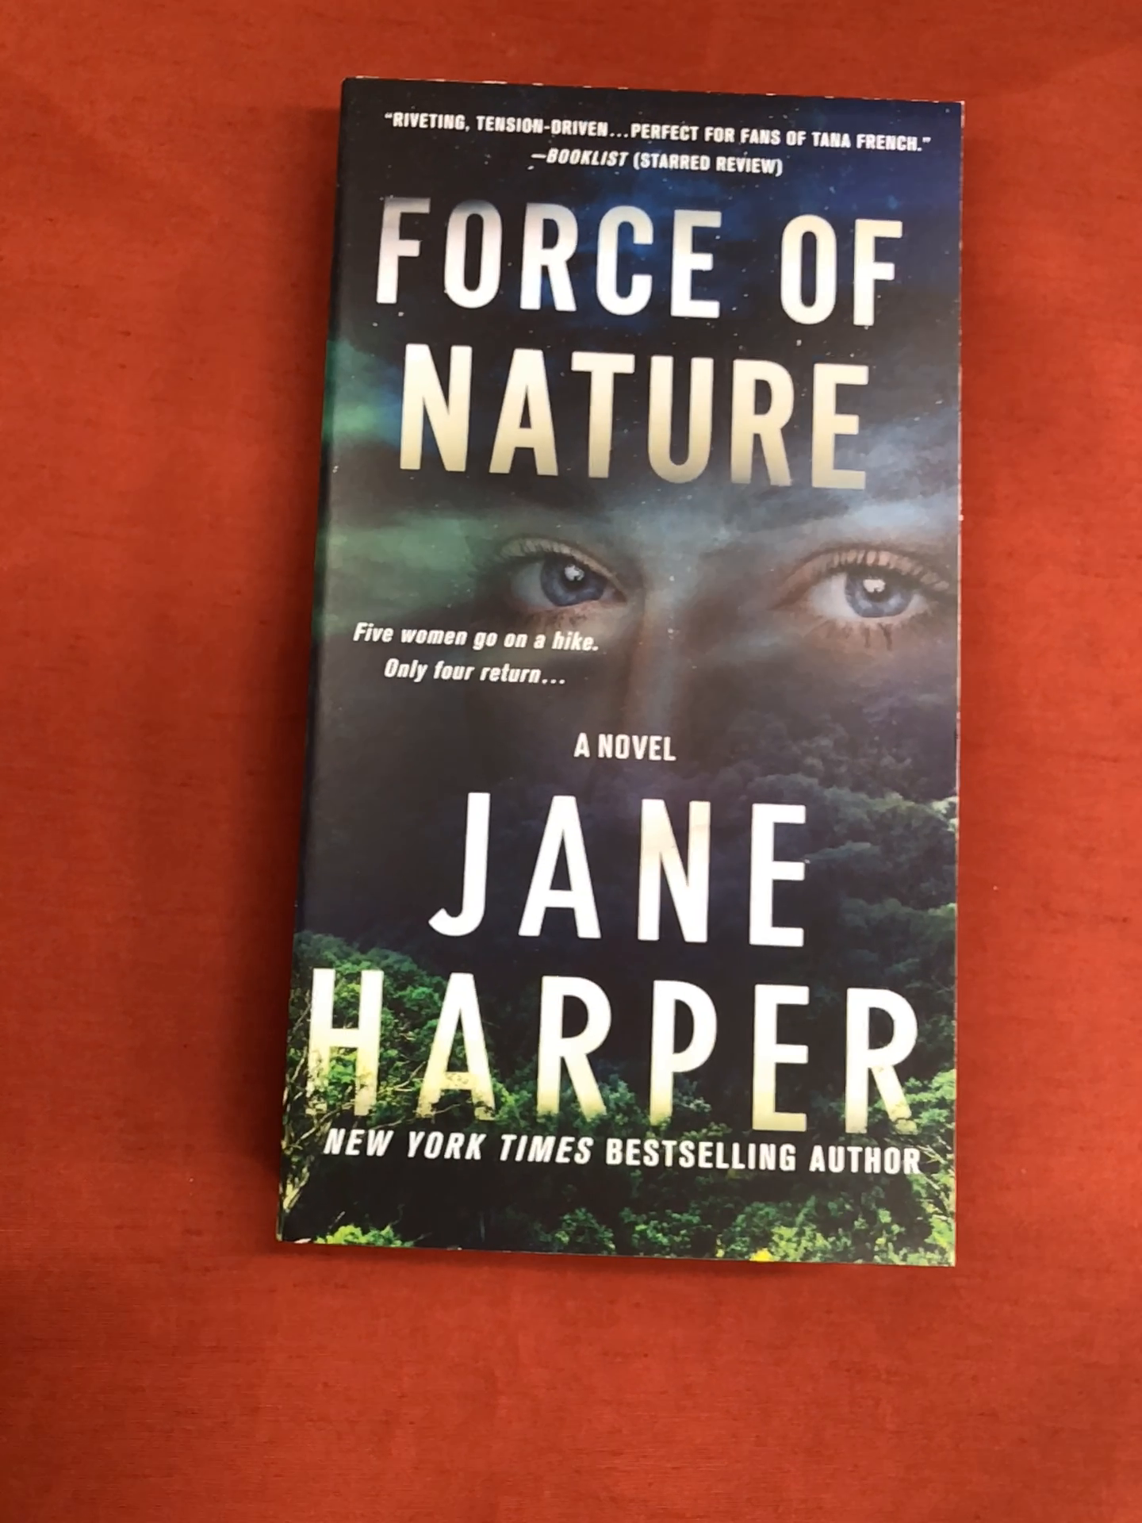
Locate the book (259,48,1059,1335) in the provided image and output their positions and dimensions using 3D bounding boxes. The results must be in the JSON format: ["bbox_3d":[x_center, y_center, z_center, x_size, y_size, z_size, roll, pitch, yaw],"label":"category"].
[{"bbox_3d":[0.012,-0.009,0.205,0.110,0.050,0.180,1,91,-1],"label":"book"}]
